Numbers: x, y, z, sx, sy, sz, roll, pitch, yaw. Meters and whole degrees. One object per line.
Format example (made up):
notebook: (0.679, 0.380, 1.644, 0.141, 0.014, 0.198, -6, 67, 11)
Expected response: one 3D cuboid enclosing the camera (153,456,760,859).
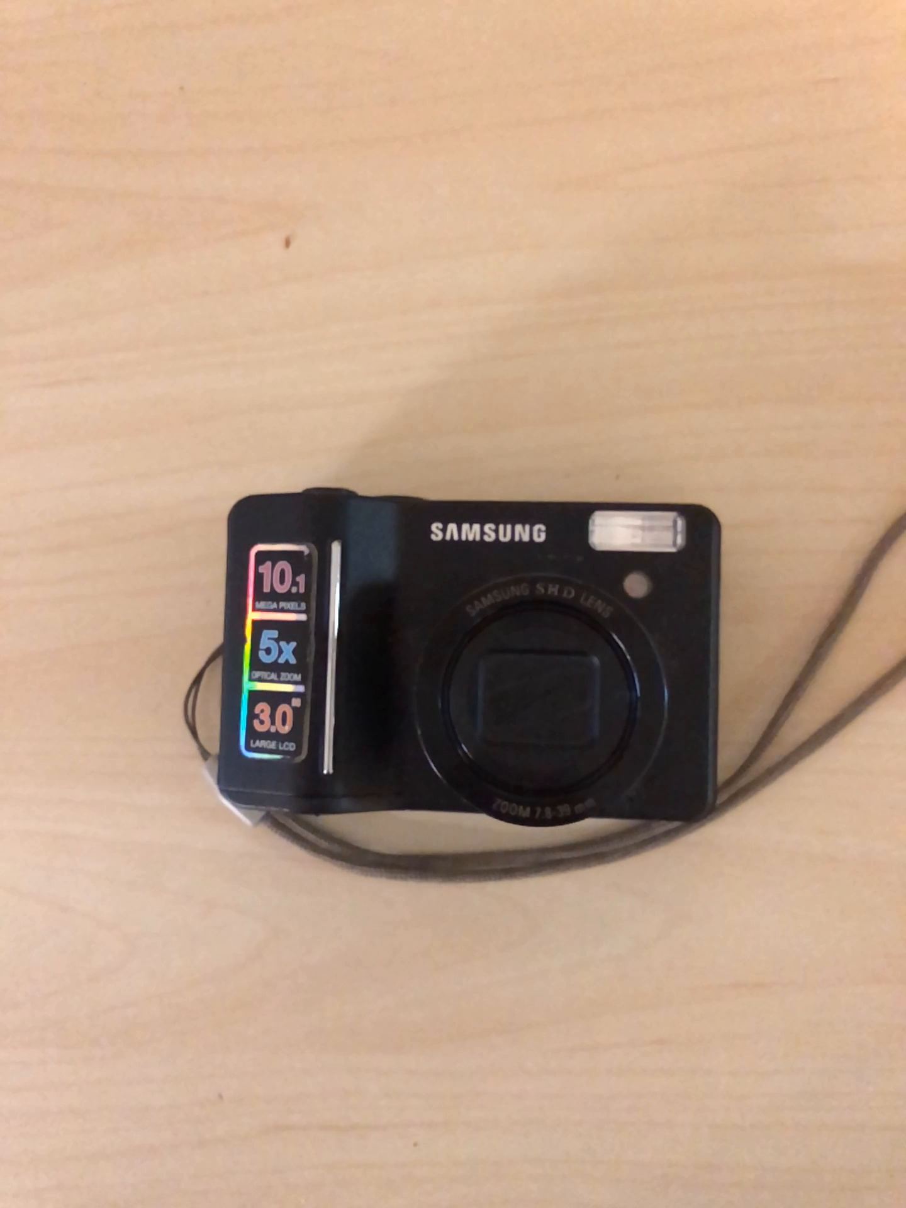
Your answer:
camera: (0.001, 0.009, 0.202, 0.110, 0.030, 0.070, 2, 86, 7)
